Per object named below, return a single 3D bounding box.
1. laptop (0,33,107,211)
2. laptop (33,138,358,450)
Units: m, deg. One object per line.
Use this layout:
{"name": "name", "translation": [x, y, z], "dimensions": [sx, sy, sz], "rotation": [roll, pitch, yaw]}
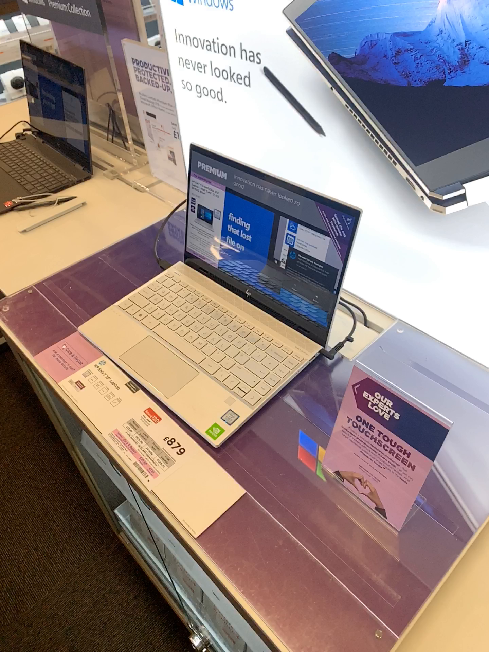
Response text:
{"name": "laptop", "translation": [-0.588, -0.516, 1.246], "dimensions": [0.300, 0.236, 0.313], "rotation": [35, 57, 31]}
{"name": "laptop", "translation": [-0.058, -0.066, 0.653], "dimensions": [0.296, 0.181, 0.261], "rotation": [33, 56, 32]}
